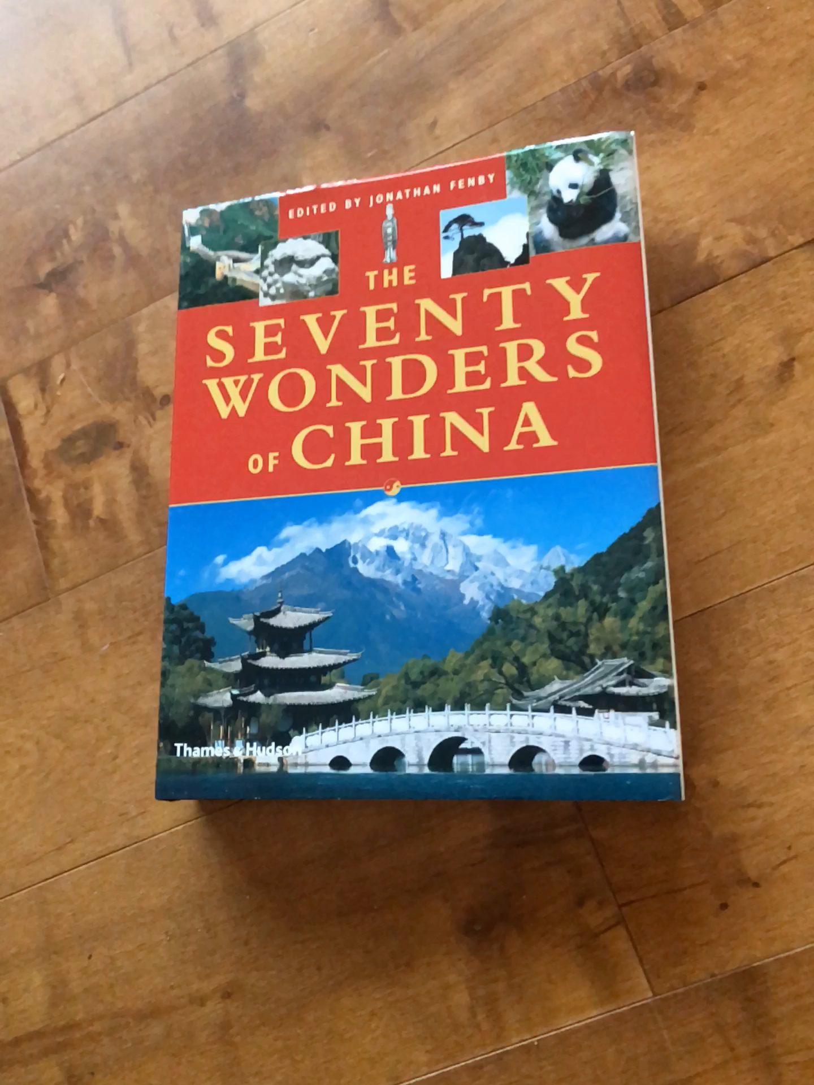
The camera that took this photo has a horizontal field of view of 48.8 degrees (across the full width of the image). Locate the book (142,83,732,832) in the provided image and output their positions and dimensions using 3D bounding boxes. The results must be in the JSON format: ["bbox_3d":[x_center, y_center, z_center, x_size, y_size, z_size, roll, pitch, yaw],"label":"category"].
[{"bbox_3d":[0.006,-0.032,0.383,0.220,0.050,0.290,-5,76,15],"label":"book"}]
